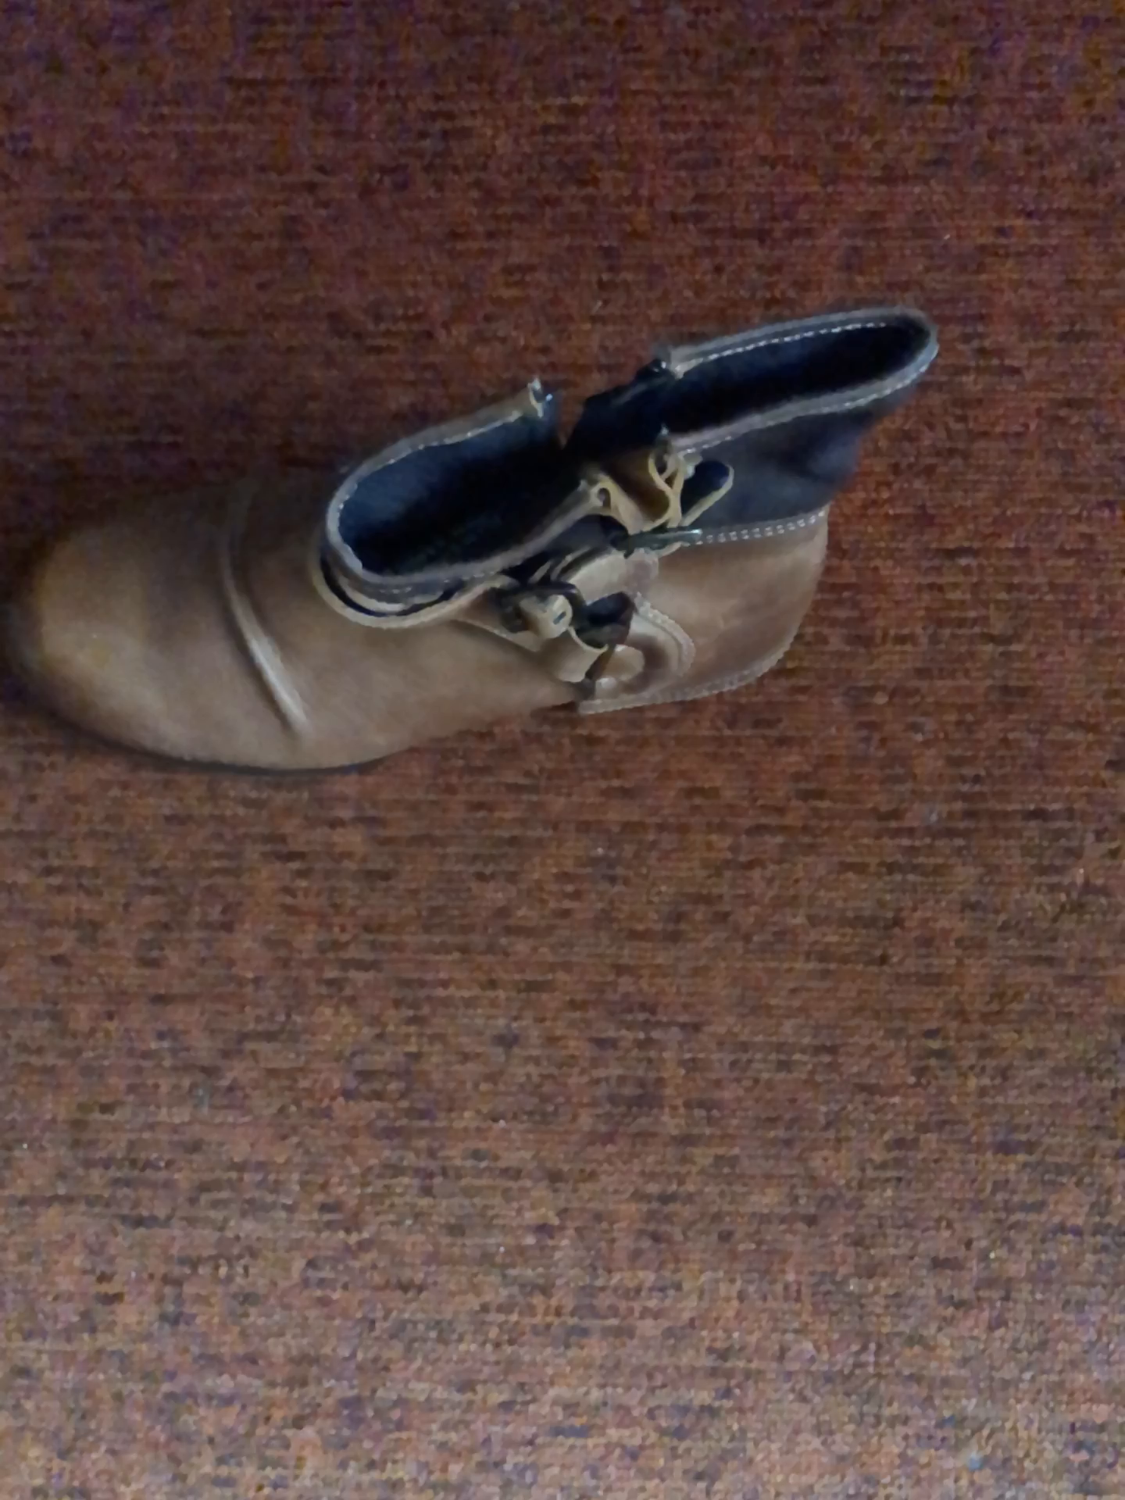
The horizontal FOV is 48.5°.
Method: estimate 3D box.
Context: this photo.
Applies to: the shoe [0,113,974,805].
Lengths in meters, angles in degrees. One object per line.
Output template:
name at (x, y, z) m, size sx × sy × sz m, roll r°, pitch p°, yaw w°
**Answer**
shoe at (-0.055, -0.062, 0.371) m, size 0.280 × 0.190 × 0.110 m, roll -6°, pitch 82°, yaw 0°
